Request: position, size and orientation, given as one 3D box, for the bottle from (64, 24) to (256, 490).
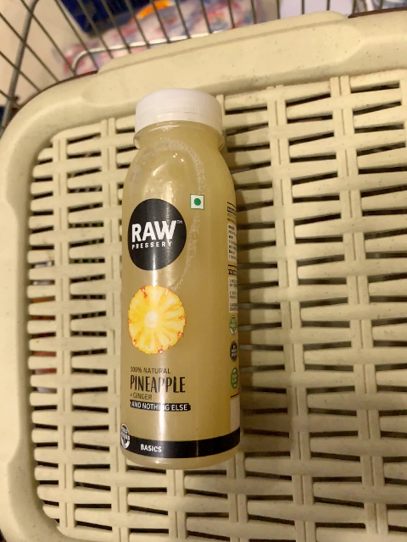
[{"bbox_3d":[-0.013,-0.006,0.176,0.060,0.050,0.160,-2,82,15],"label":"bottle"}]
